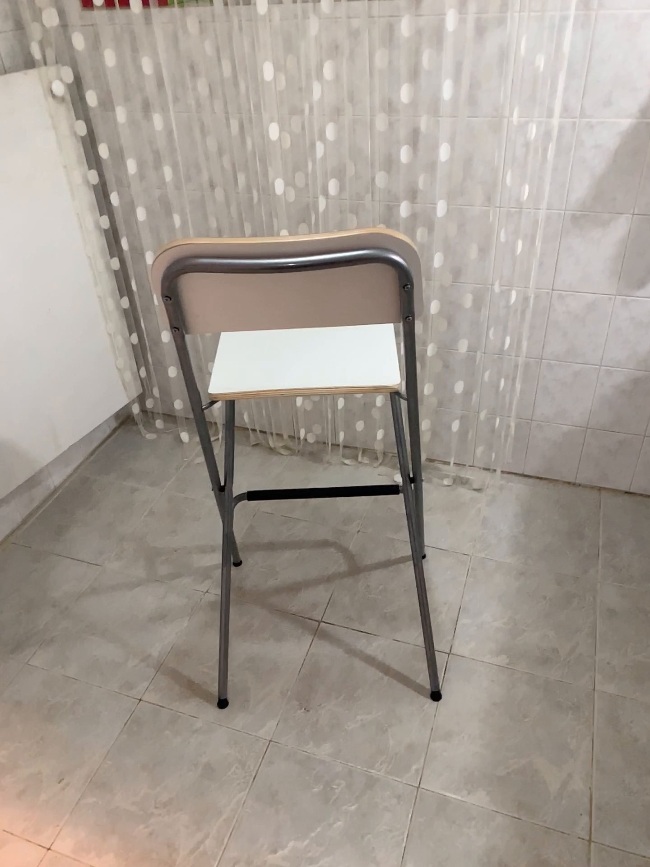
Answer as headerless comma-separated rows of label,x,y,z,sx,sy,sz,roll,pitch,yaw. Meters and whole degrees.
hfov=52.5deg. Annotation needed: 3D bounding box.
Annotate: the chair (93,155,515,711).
chair,-0.012,0.044,1.322,0.537,1.007,0.468,-2,36,1
